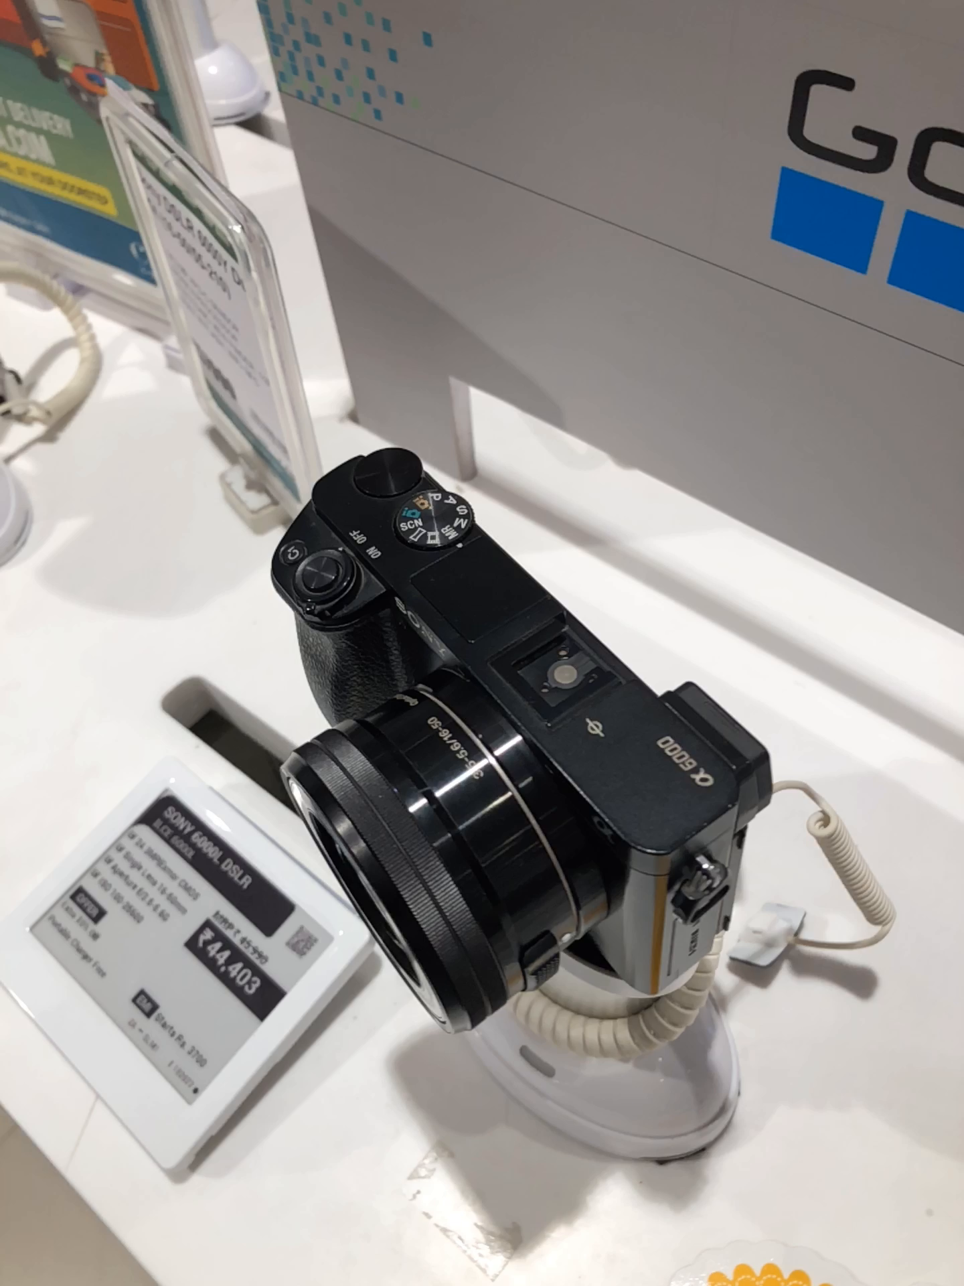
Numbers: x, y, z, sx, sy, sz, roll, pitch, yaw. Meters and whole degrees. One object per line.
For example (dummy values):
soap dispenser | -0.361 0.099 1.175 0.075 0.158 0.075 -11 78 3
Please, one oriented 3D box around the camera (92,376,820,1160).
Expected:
camera | -0.008 0.019 0.196 0.060 0.070 0.110 -33 58 -19
